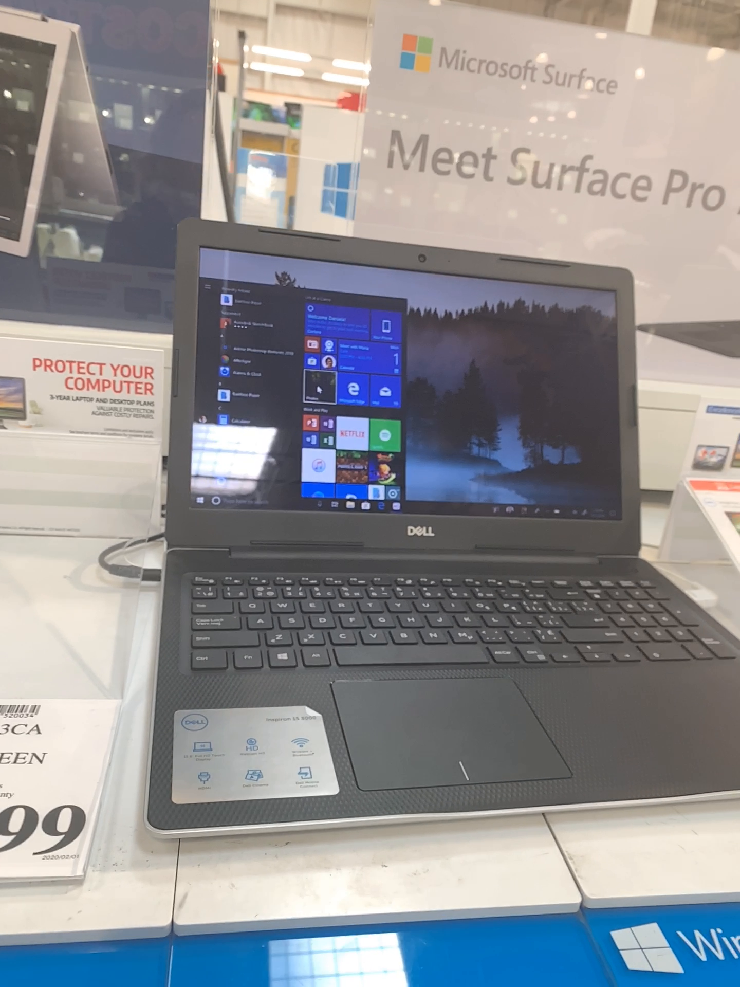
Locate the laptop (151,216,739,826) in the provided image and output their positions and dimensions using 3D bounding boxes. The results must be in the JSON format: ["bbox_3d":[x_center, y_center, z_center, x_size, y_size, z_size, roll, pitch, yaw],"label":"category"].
[{"bbox_3d":[0.062,-0.025,0.455,0.357,0.205,0.343,3,21,-15],"label":"laptop"}]
